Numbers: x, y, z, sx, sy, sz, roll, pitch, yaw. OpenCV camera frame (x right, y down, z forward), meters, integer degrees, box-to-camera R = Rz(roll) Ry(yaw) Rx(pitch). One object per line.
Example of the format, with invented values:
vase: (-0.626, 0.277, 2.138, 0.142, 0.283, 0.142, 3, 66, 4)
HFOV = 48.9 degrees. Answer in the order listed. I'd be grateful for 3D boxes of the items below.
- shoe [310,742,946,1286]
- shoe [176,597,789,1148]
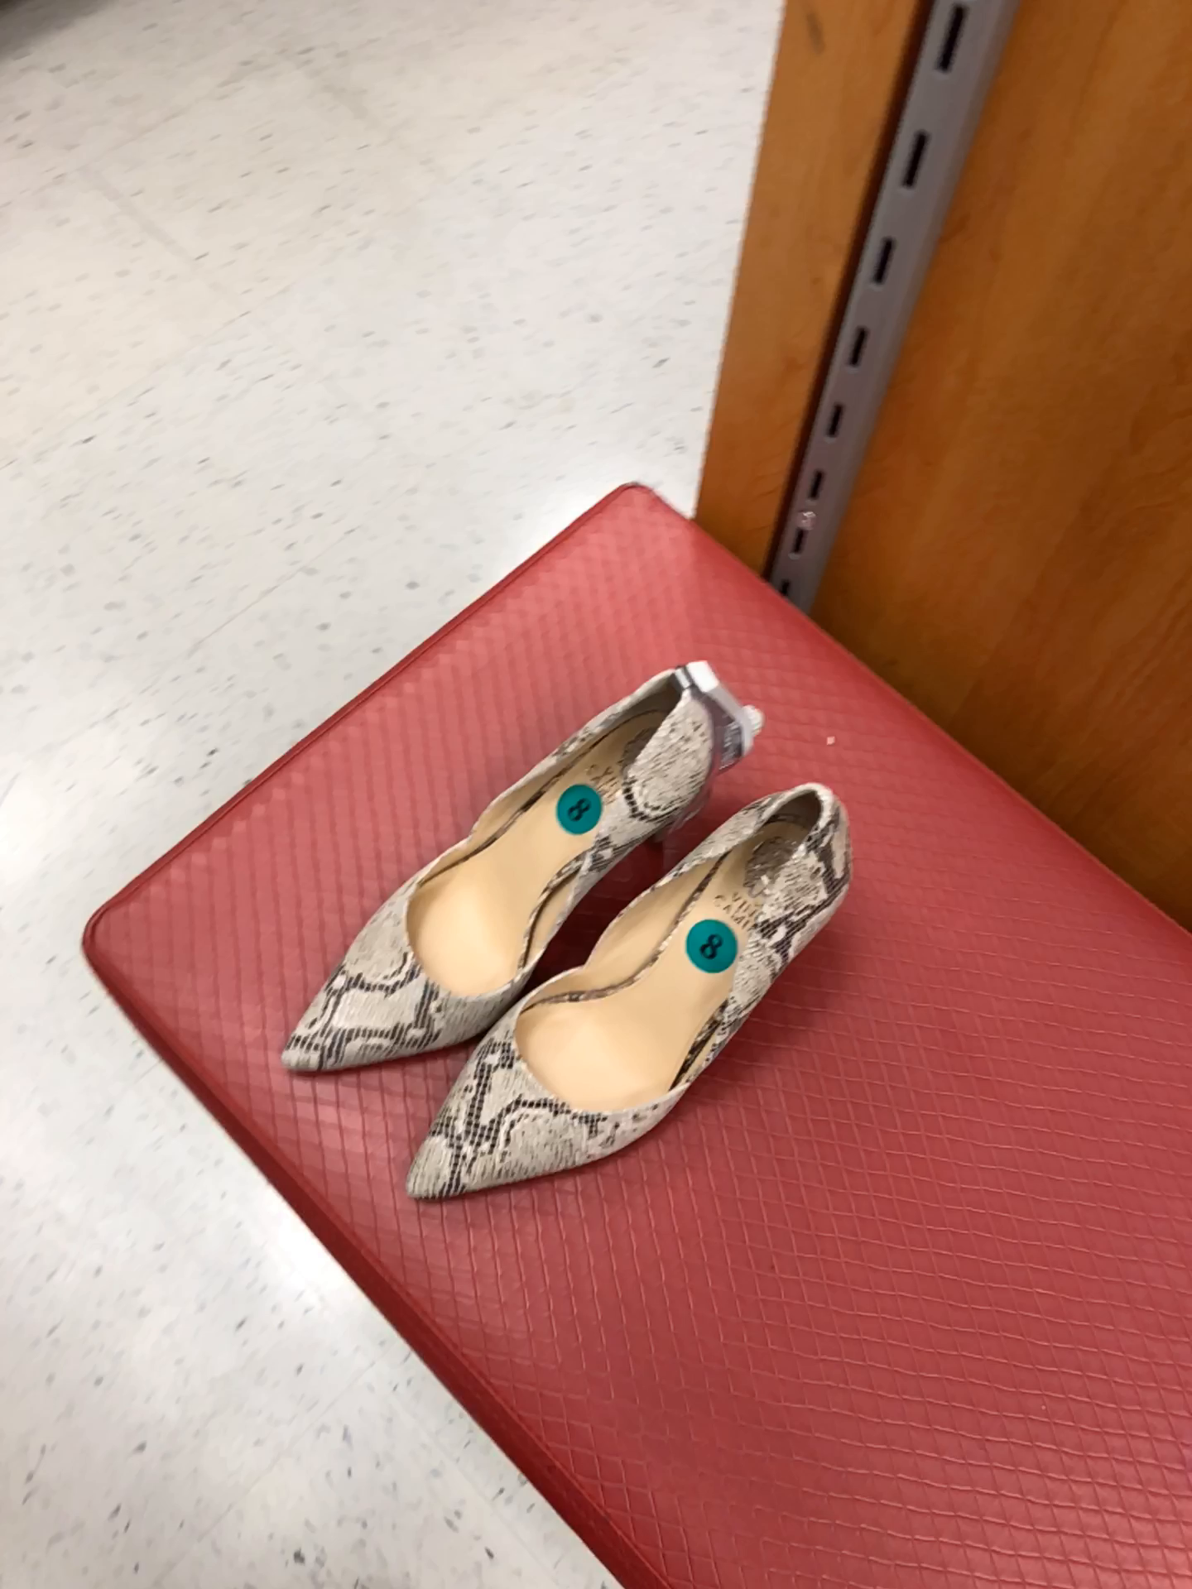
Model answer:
shoe: (0.016, 0.098, 0.591, 0.259, 0.102, 0.093, -32, 70, -16)
shoe: (-0.046, 0.036, 0.618, 0.262, 0.112, 0.092, -36, 71, -17)
